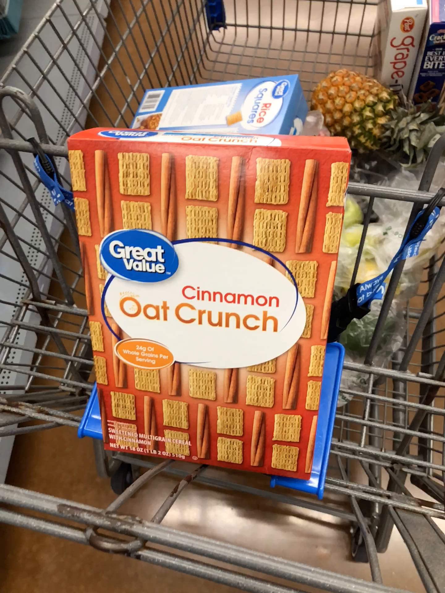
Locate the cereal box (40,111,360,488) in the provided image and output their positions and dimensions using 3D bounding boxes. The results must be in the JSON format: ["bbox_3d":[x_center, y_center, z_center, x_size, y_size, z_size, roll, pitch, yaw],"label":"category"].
[{"bbox_3d":[-0.016,0.009,0.393,0.200,0.280,0.070,6,27,9],"label":"cereal box"}]
